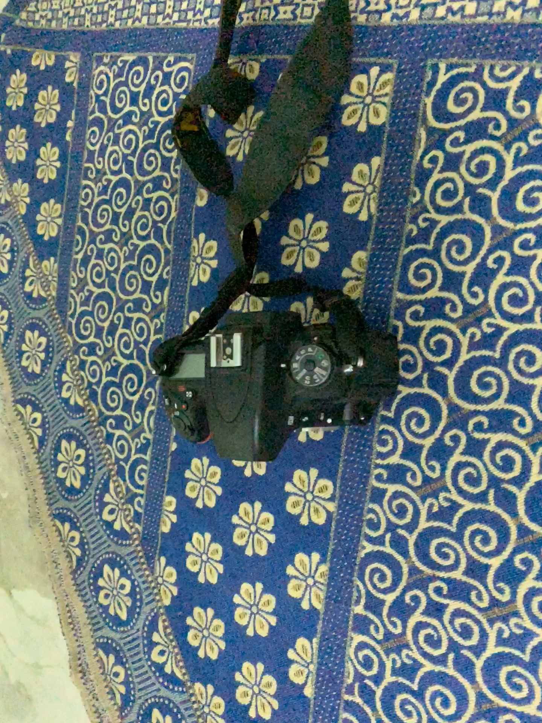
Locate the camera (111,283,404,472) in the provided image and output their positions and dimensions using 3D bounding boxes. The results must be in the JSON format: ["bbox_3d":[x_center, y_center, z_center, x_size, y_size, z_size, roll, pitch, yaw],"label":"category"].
[{"bbox_3d":[-0.010,0.012,0.338,0.151,0.090,0.088,-5,87,35],"label":"camera"}]
